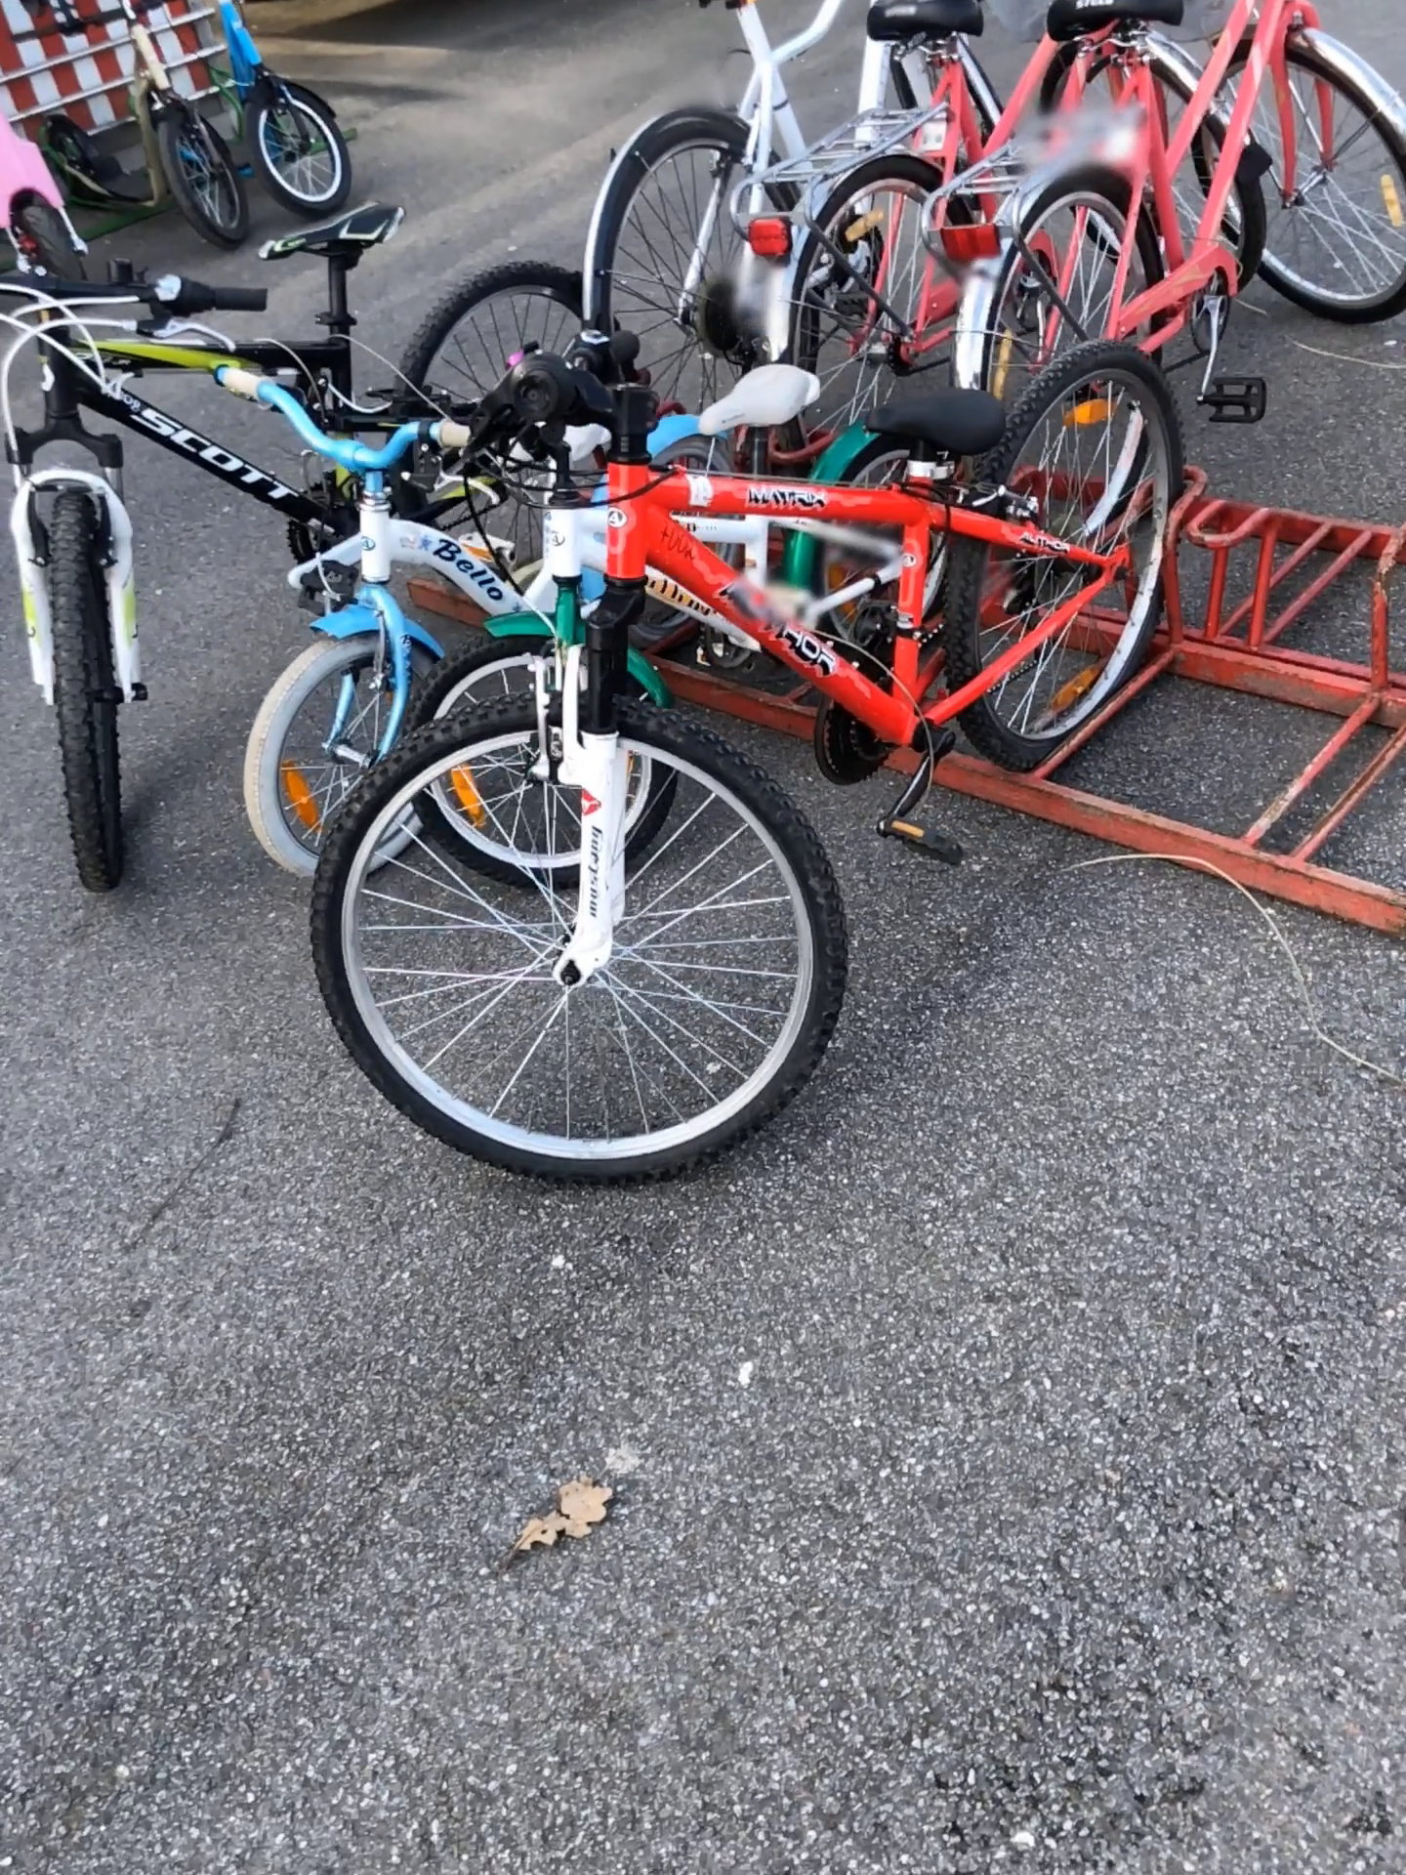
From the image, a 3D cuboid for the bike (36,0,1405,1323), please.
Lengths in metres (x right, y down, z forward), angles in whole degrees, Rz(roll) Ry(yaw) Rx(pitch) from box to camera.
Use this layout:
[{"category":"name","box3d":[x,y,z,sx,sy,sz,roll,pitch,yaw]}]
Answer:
[{"category":"bike","box3d":[0.165,-0.406,1.846,1.447,0.907,0.553,-34,46,-23]}]
